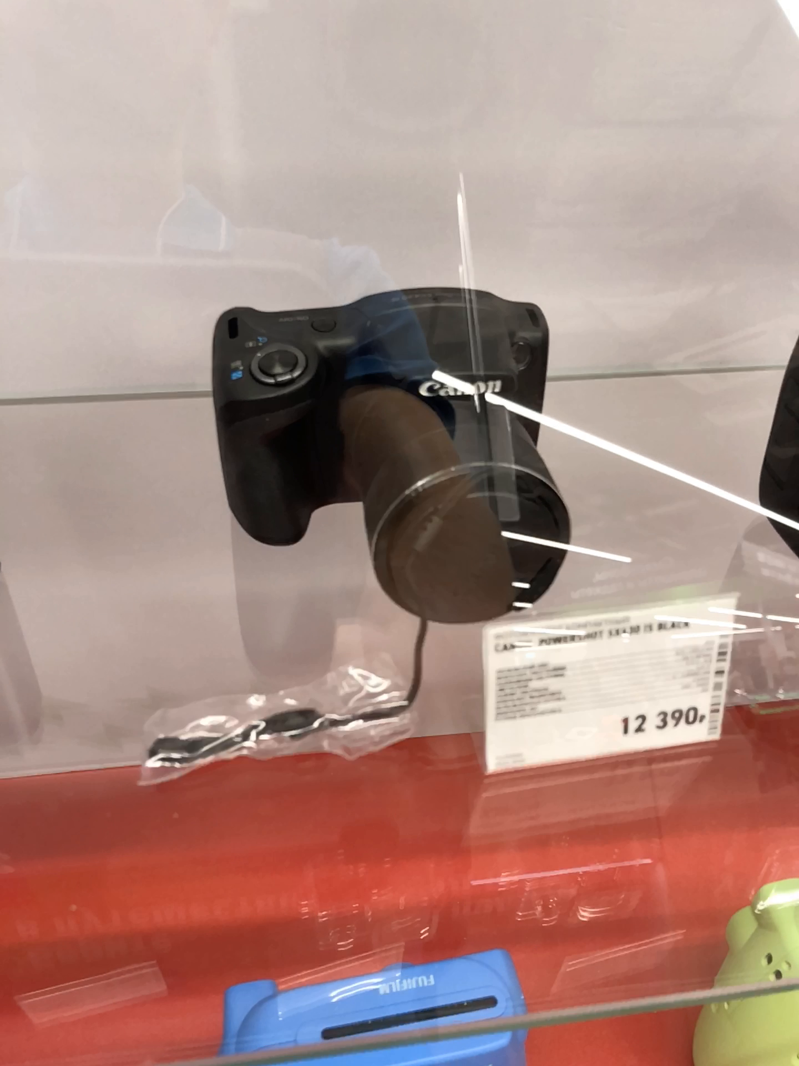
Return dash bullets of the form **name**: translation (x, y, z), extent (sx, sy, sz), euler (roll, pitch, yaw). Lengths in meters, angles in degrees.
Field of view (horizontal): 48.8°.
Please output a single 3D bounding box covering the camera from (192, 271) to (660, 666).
- **camera**: translation (0.002, -0.023, 0.268), extent (0.113, 0.080, 0.086), euler (-4, 38, -7)
